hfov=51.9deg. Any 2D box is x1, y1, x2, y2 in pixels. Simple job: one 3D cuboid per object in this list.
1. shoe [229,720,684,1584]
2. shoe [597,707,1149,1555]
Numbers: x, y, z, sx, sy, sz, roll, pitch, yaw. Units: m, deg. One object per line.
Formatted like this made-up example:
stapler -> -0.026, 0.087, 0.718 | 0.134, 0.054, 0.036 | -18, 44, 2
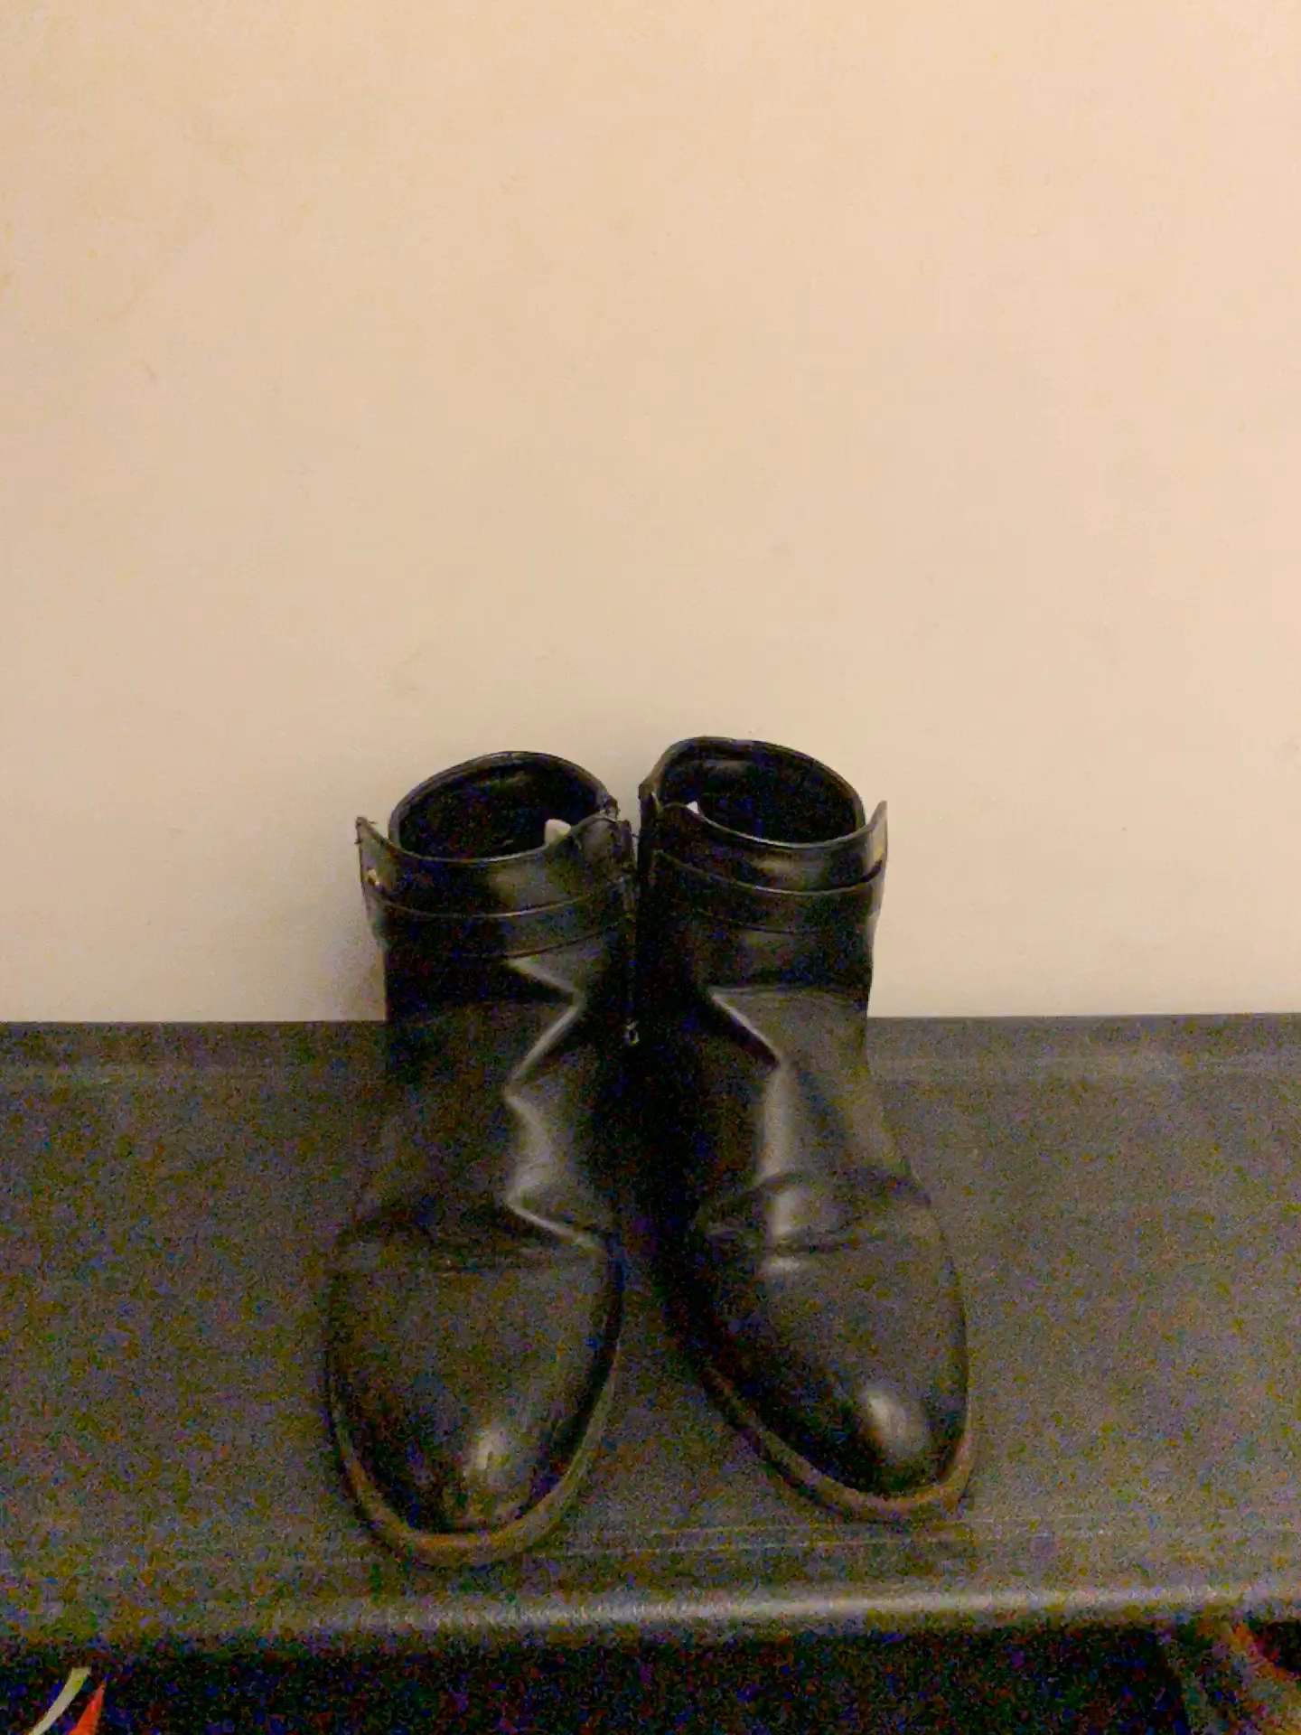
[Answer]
shoe -> -0.051, 0.071, 0.431 | 0.100, 0.169, 0.222 | 1, 25, -3
shoe -> 0.049, 0.066, 0.463 | 0.100, 0.169, 0.242 | -2, 26, -10
